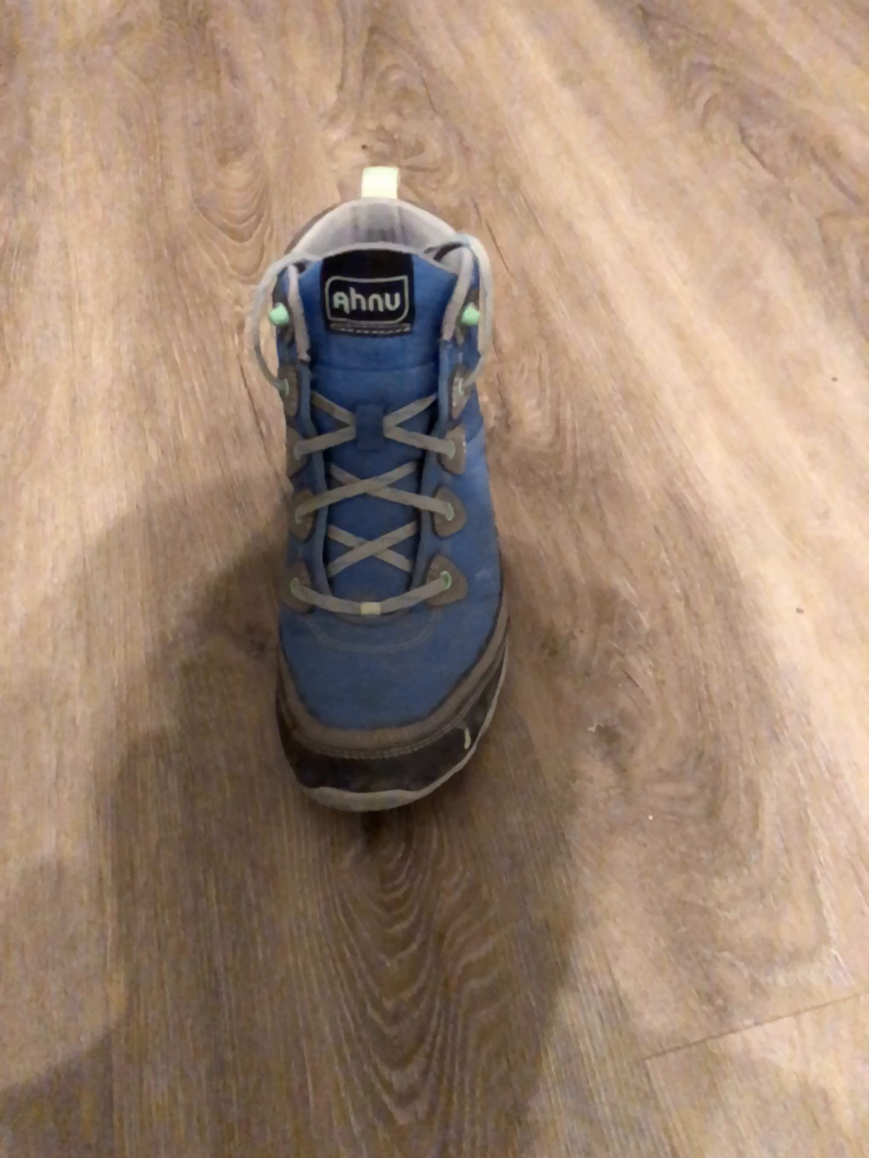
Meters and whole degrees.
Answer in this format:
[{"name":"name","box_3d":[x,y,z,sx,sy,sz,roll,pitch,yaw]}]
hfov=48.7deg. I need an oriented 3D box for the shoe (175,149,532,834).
[{"name":"shoe","box_3d":[-0.019,-0.042,0.398,0.100,0.140,0.251,-1,54,2]}]
